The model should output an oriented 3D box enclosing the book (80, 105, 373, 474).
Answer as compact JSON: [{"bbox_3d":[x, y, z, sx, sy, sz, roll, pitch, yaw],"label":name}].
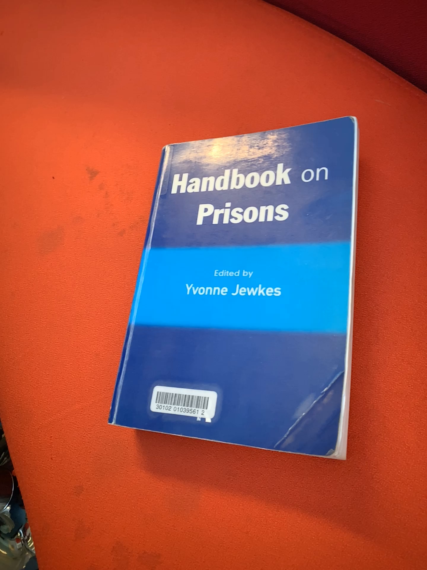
[{"bbox_3d":[0.022,-0.006,0.364,0.200,0.060,0.271,0,67,23],"label":"book"}]
